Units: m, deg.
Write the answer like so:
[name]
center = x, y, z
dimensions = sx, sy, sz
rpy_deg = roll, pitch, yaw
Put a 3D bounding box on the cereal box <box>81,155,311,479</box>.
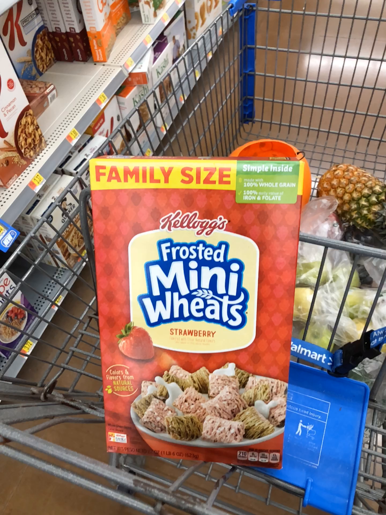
[cereal box]
center = 0.005, 0.059, 0.441
dimensions = 0.200, 0.320, 0.070
rpy_deg = 2, 15, 8
